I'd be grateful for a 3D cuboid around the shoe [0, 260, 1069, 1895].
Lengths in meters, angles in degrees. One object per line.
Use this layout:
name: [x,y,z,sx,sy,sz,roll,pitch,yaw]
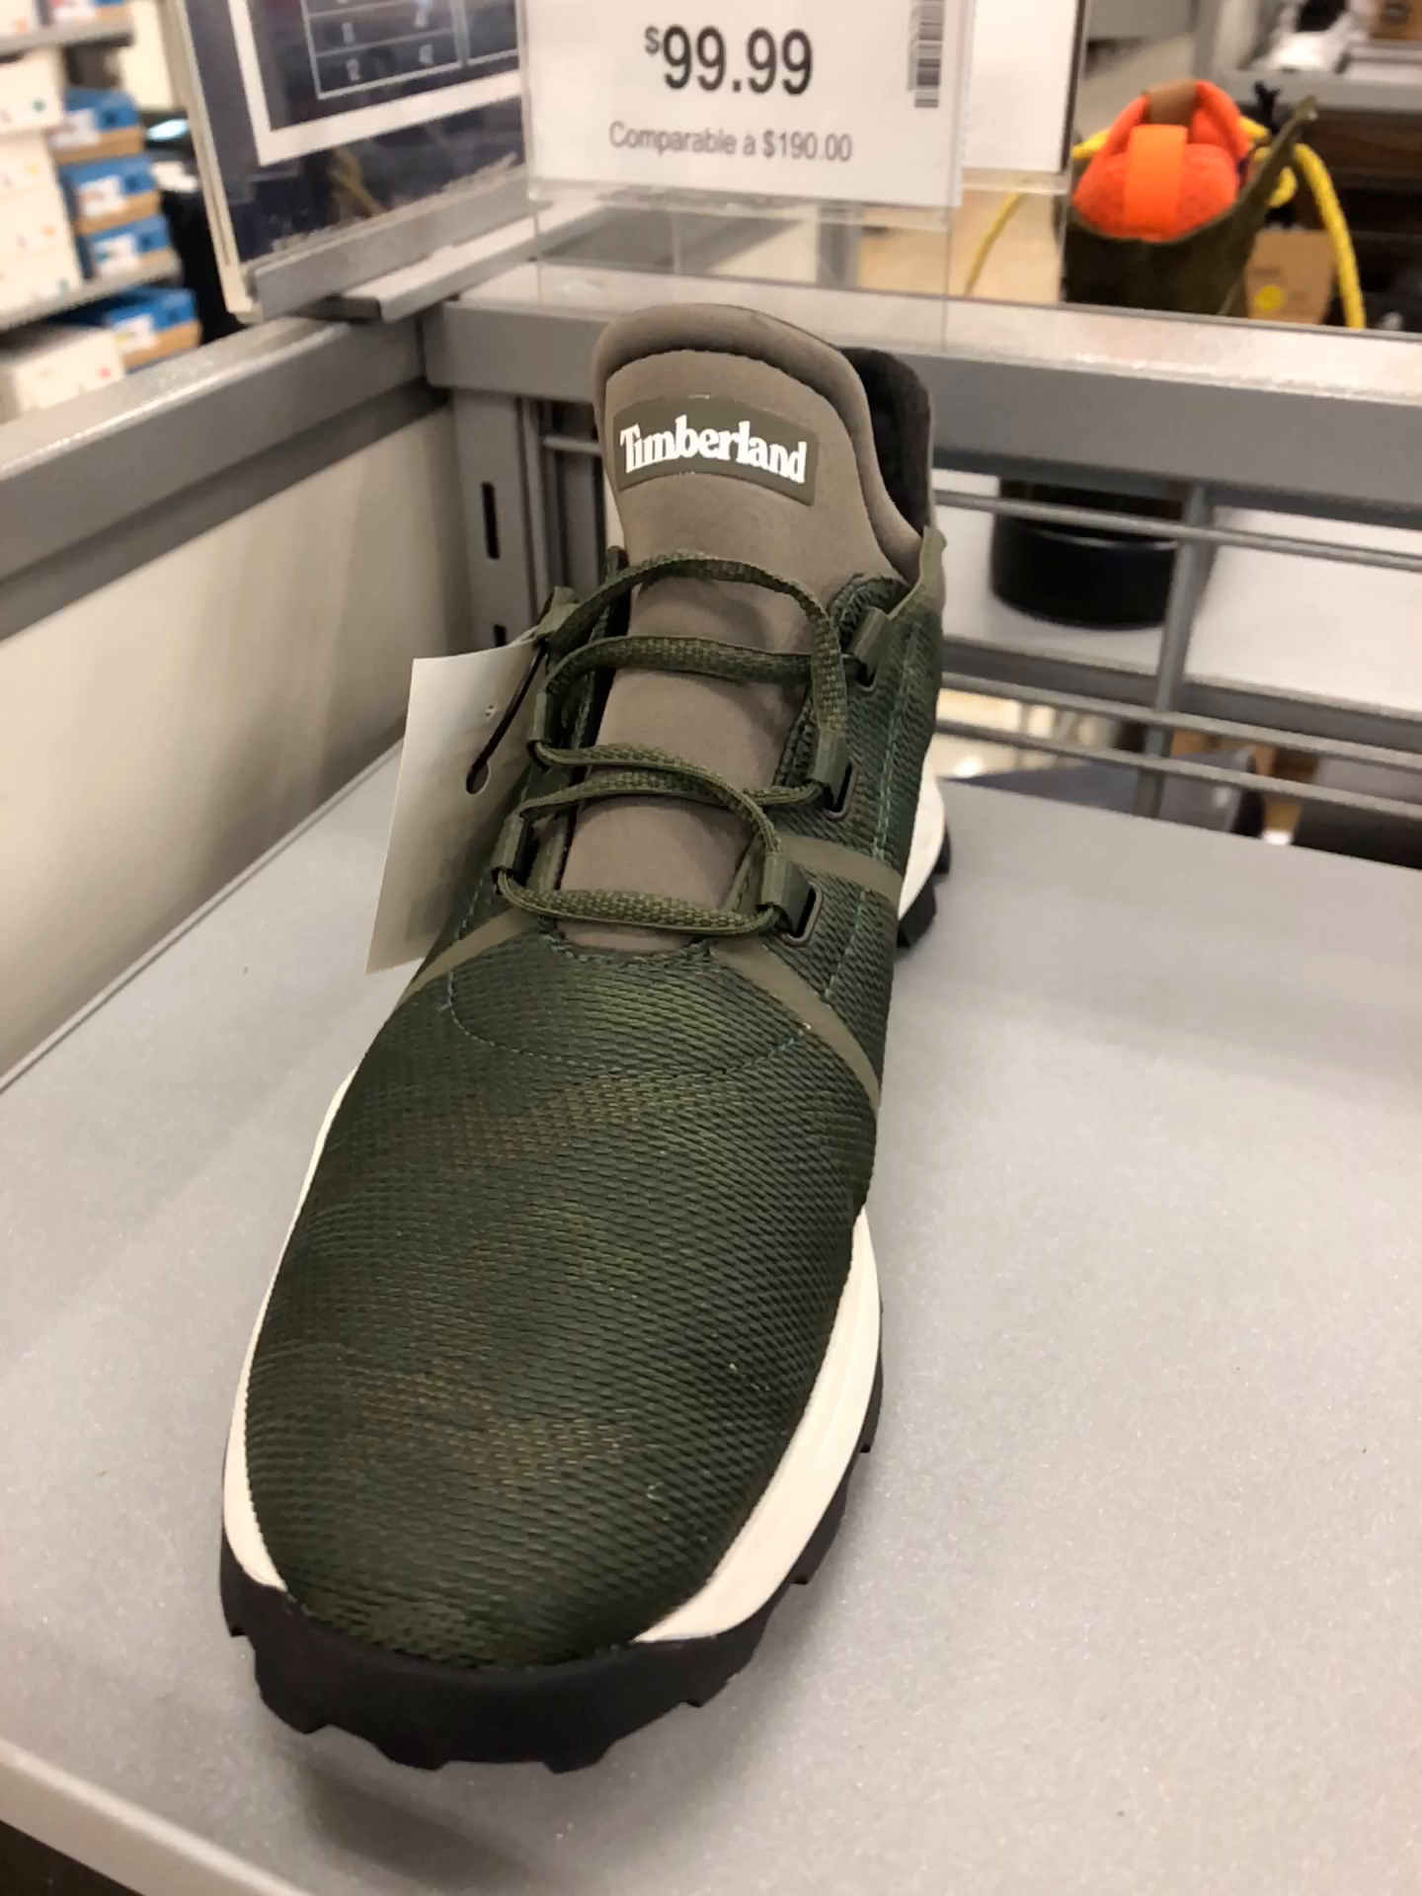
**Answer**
shoe: [-0.016,-0.019,0.309,0.130,0.149,0.312,8,36,12]
